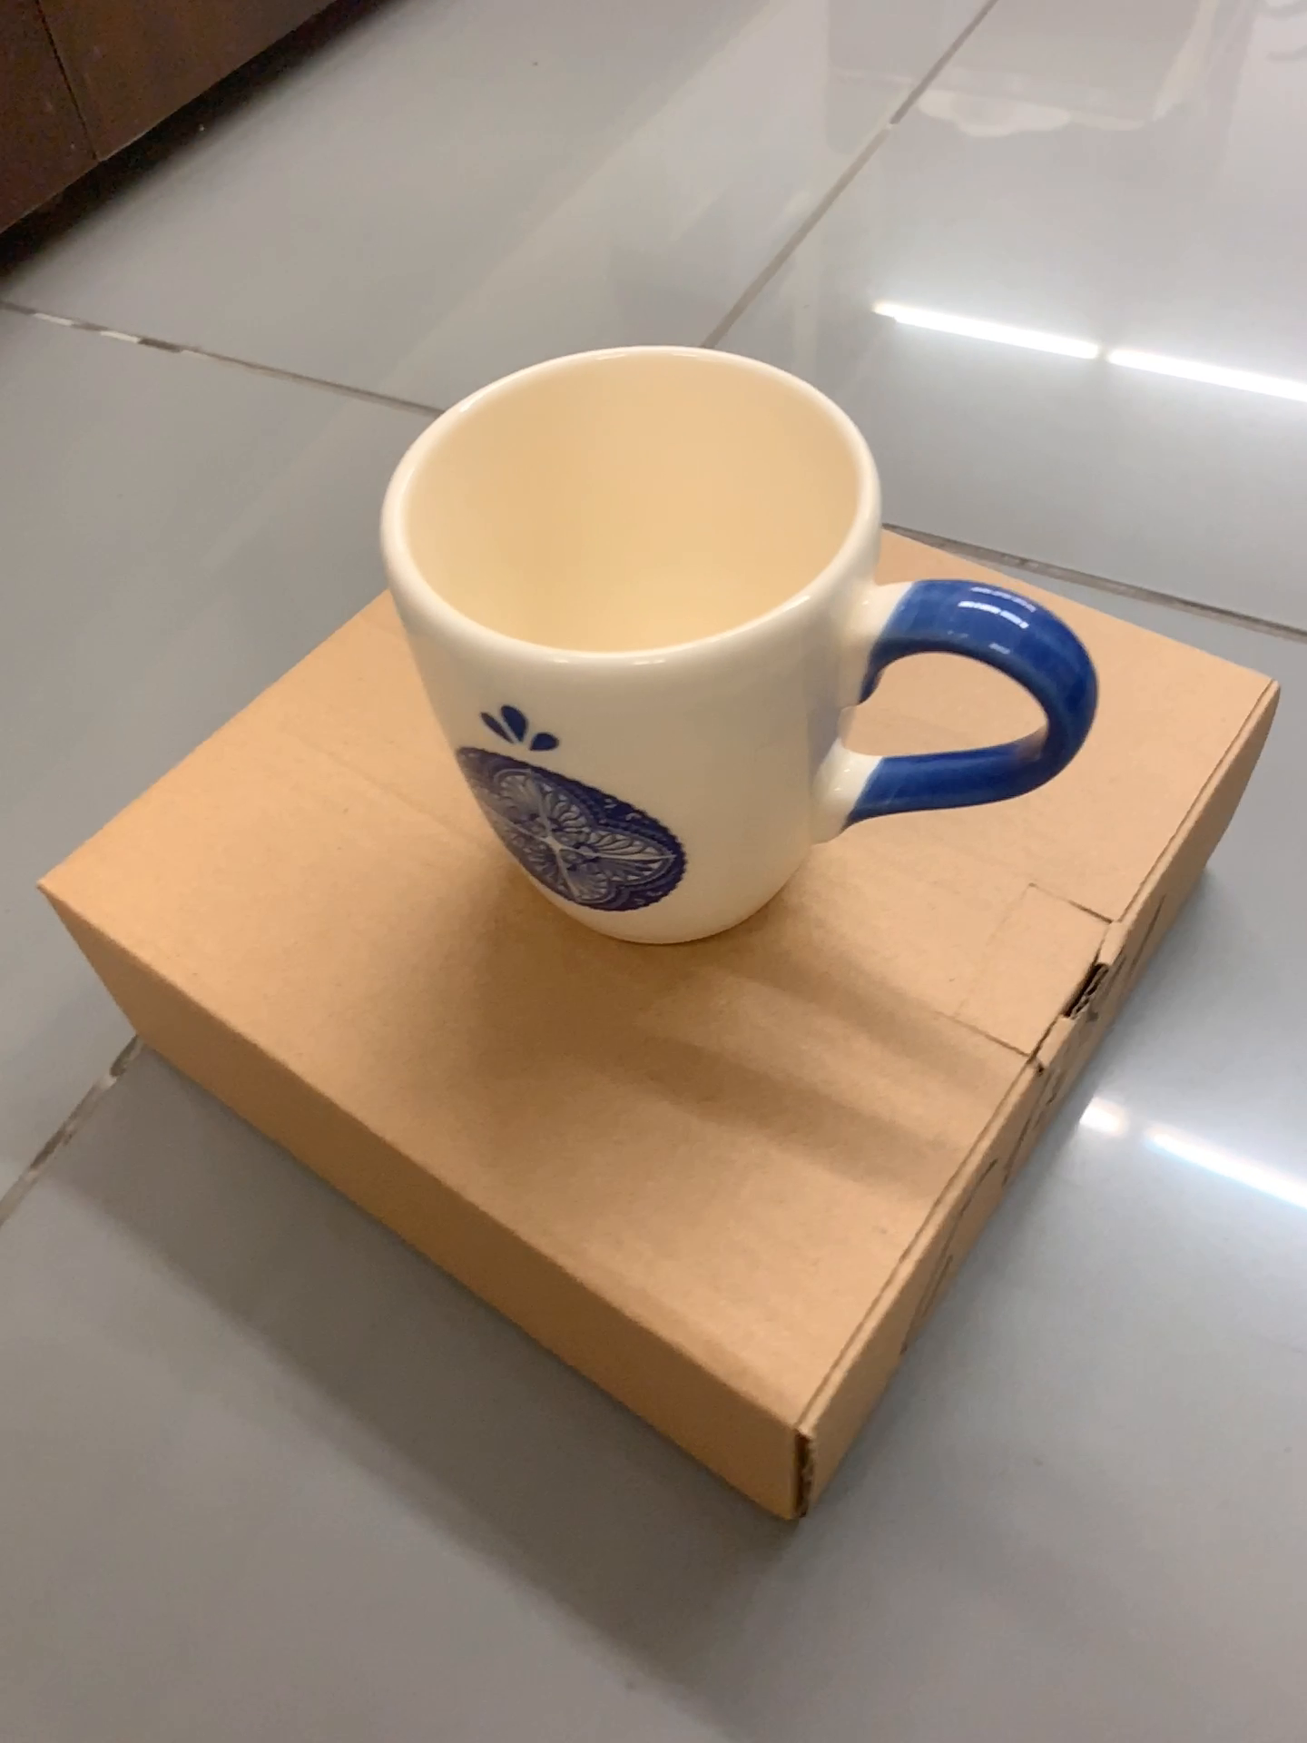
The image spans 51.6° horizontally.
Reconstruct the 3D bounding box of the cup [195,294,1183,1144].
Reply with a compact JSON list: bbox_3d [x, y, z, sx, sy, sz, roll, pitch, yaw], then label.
[{"bbox_3d":[0.009,-0.033,0.262,0.140,0.090,0.090,22,57,20],"label":"cup"}]
